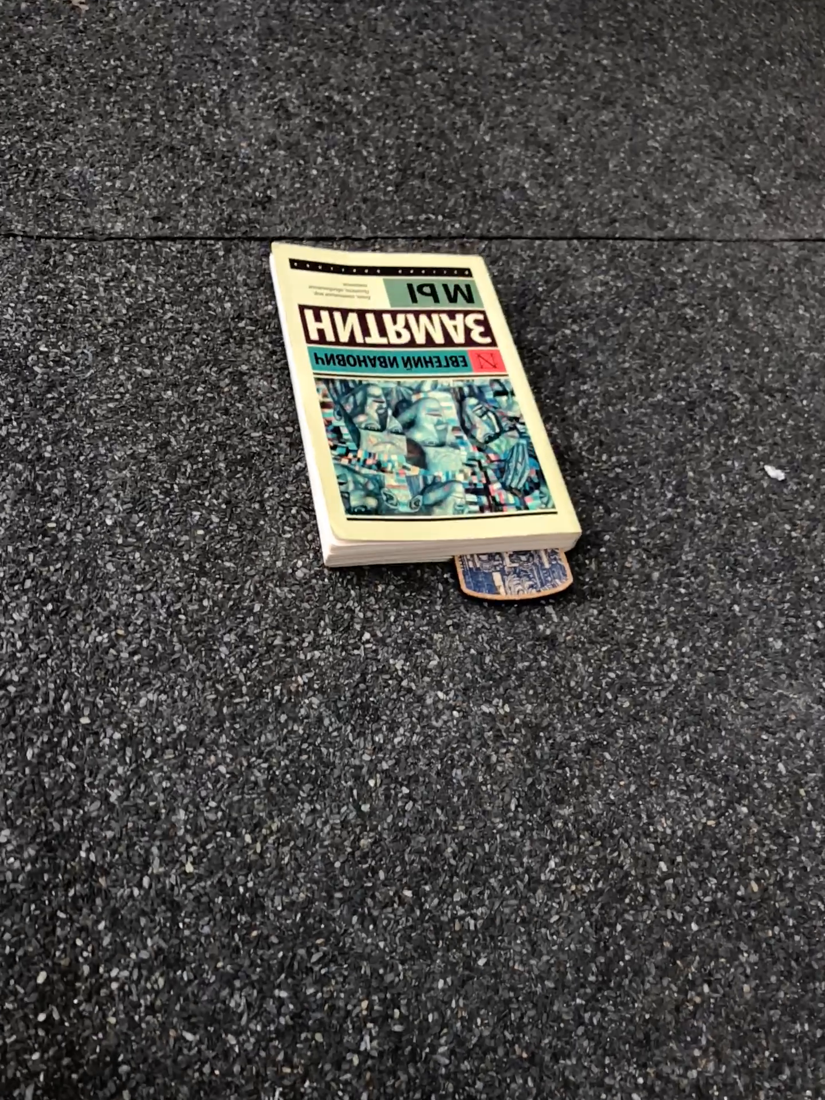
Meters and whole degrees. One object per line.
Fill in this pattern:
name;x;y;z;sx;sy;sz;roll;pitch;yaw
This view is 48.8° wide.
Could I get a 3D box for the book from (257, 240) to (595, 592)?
book;-0.001;-0.070;0.426;0.120;0.027;0.183;-3;58;-17
